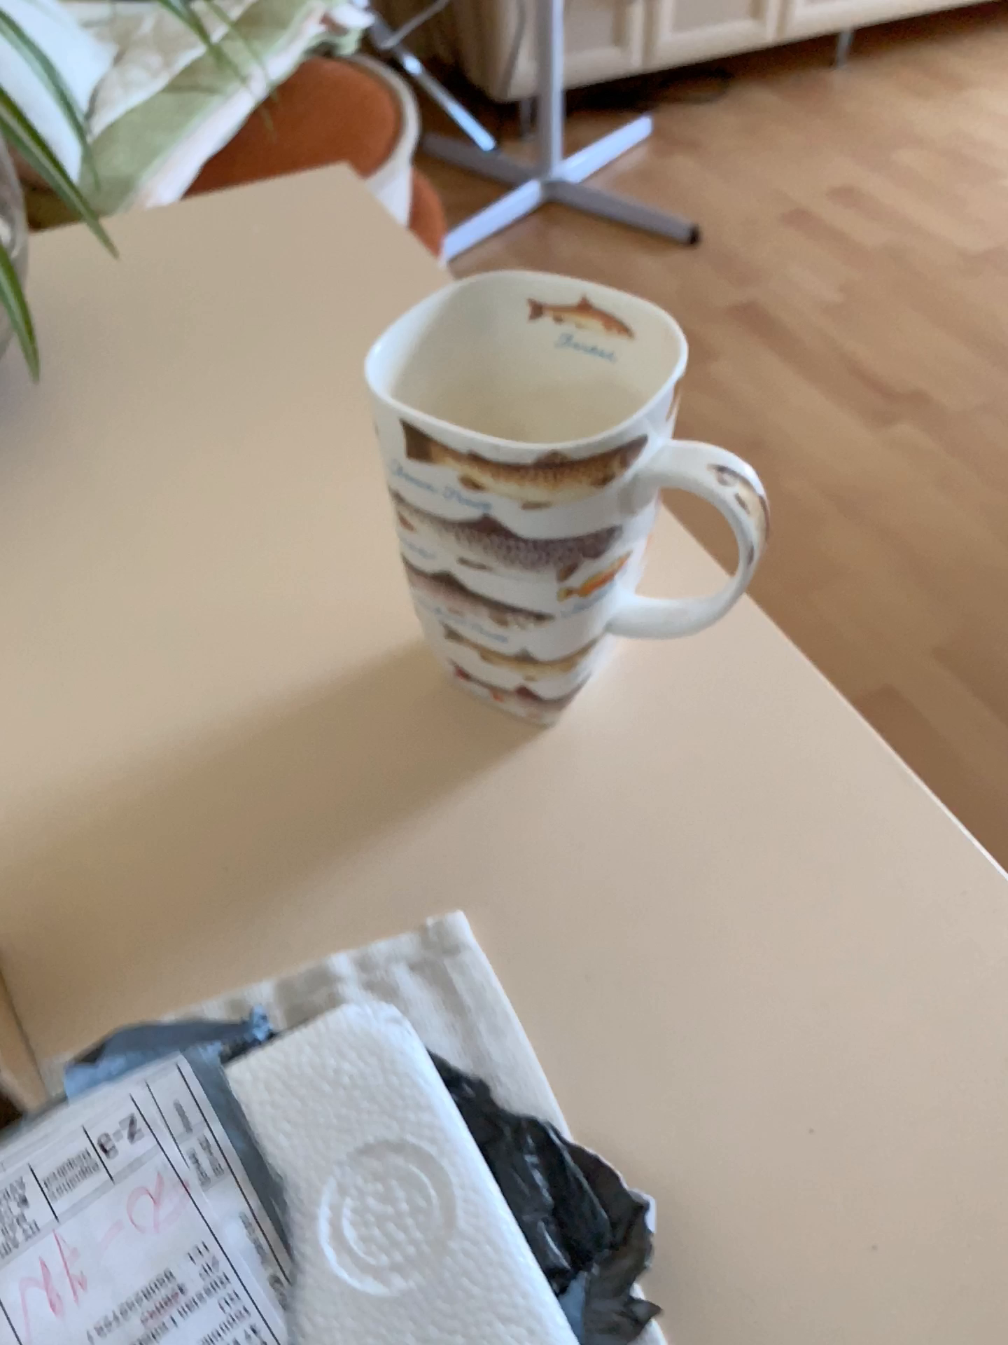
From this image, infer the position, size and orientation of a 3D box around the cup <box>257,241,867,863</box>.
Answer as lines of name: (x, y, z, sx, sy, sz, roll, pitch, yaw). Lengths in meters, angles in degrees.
cup: (0.018, -0.041, 0.343, 0.140, 0.129, 0.101, 25, 54, 22)
